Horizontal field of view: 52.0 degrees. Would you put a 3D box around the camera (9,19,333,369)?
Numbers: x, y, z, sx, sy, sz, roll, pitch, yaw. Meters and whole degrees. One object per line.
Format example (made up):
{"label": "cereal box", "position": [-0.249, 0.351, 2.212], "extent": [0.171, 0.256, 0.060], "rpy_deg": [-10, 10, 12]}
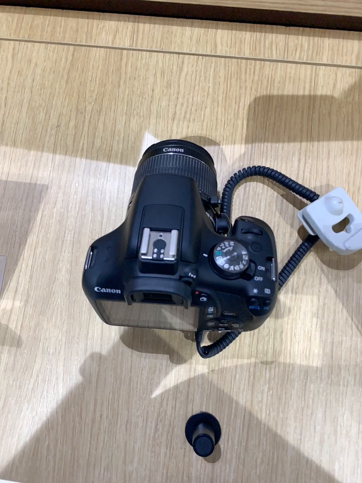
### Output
{"label": "camera", "position": [0.000, -0.022, 0.230], "extent": [0.140, 0.110, 0.160], "rpy_deg": [5, 82, 3]}
